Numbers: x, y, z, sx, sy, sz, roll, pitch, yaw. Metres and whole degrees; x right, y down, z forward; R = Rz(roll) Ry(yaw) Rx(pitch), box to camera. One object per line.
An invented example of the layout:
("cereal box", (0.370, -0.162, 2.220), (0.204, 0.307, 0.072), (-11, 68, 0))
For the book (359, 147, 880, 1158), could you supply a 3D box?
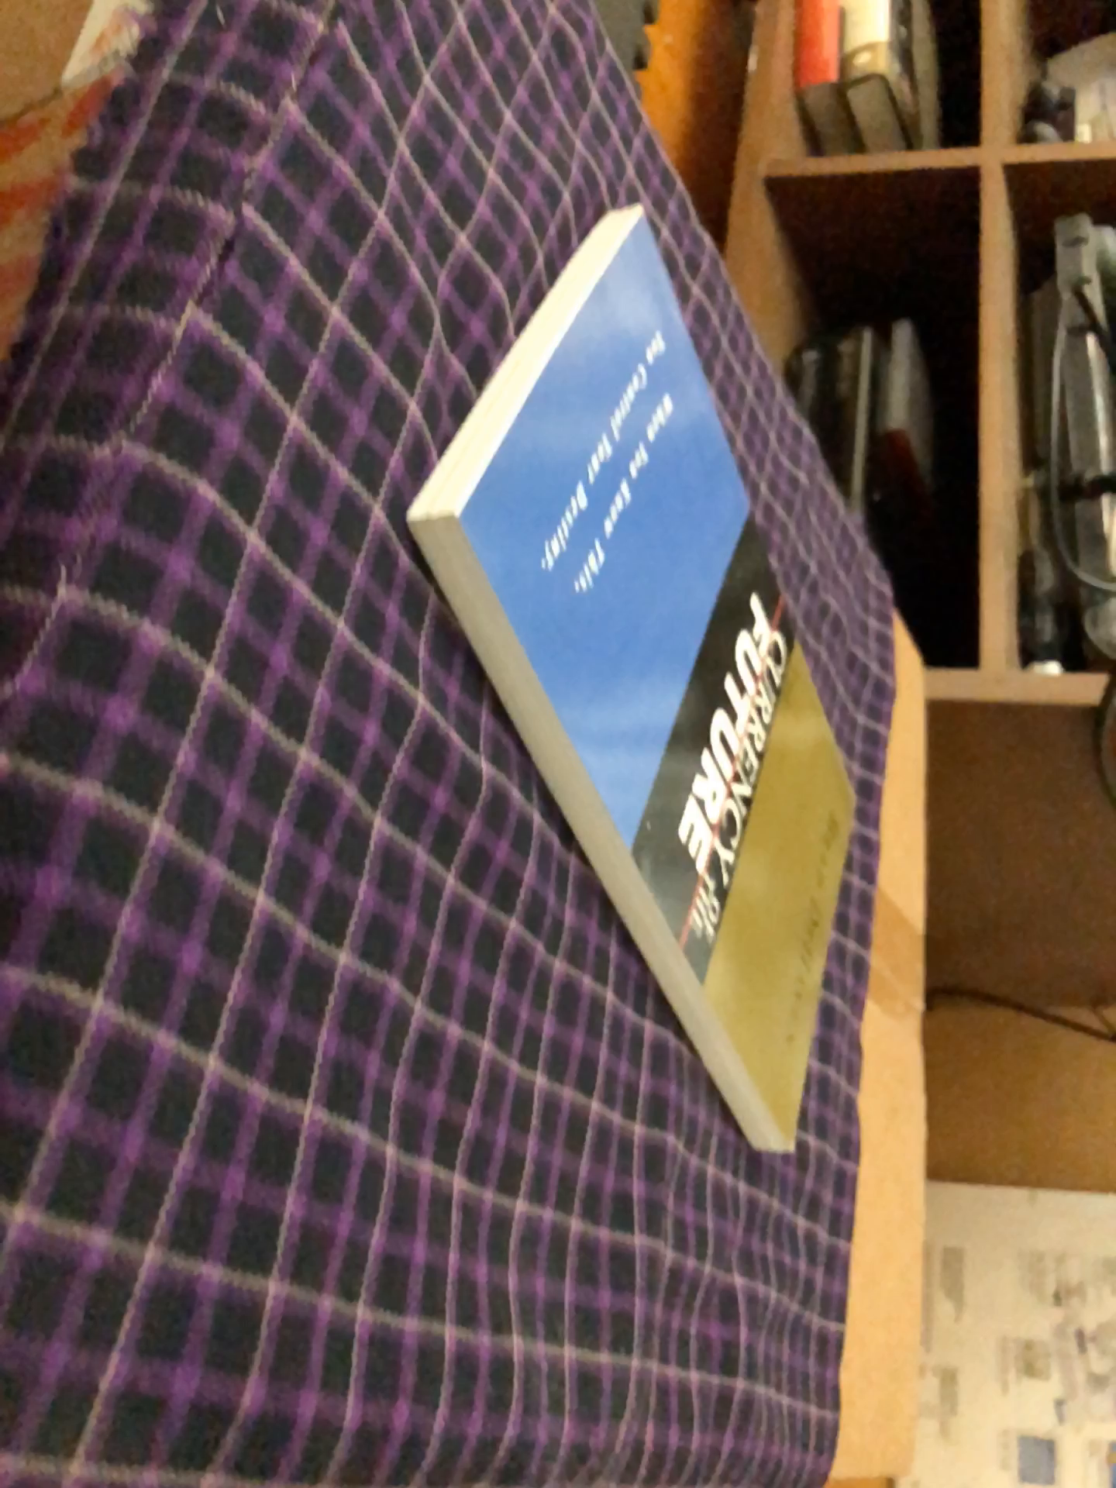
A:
("book", (0.039, -0.018, 0.329), (0.220, 0.020, 0.151), (61, 35, -35))
